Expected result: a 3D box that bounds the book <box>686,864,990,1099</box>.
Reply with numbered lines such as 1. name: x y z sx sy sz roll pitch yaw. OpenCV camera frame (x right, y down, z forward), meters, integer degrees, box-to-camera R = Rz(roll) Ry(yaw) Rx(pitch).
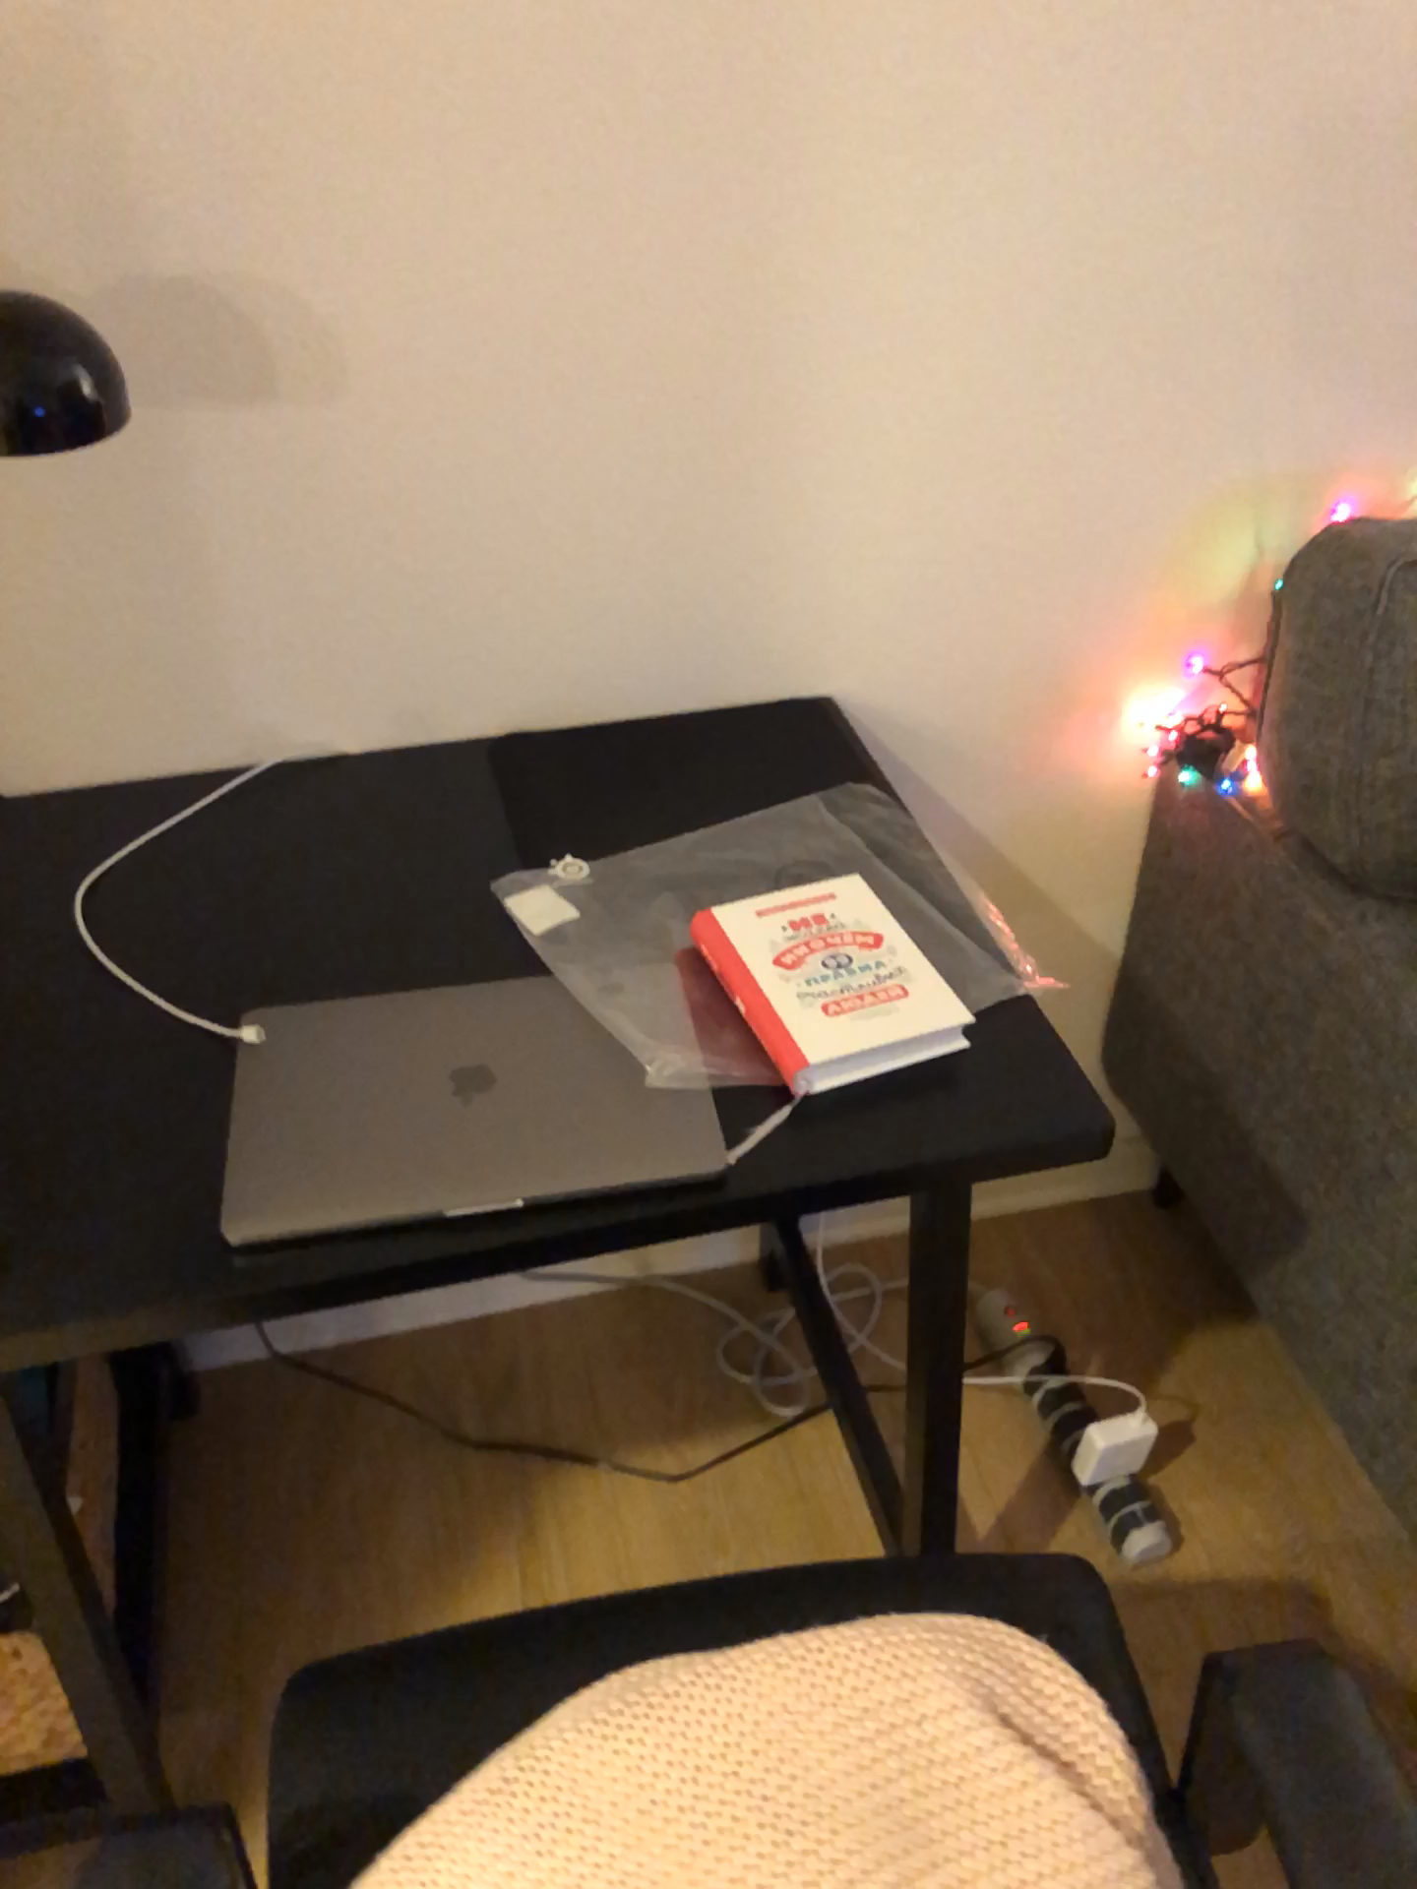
1. book: 0.086 0.020 1.106 0.140 0.030 0.191 -14 39 -19
